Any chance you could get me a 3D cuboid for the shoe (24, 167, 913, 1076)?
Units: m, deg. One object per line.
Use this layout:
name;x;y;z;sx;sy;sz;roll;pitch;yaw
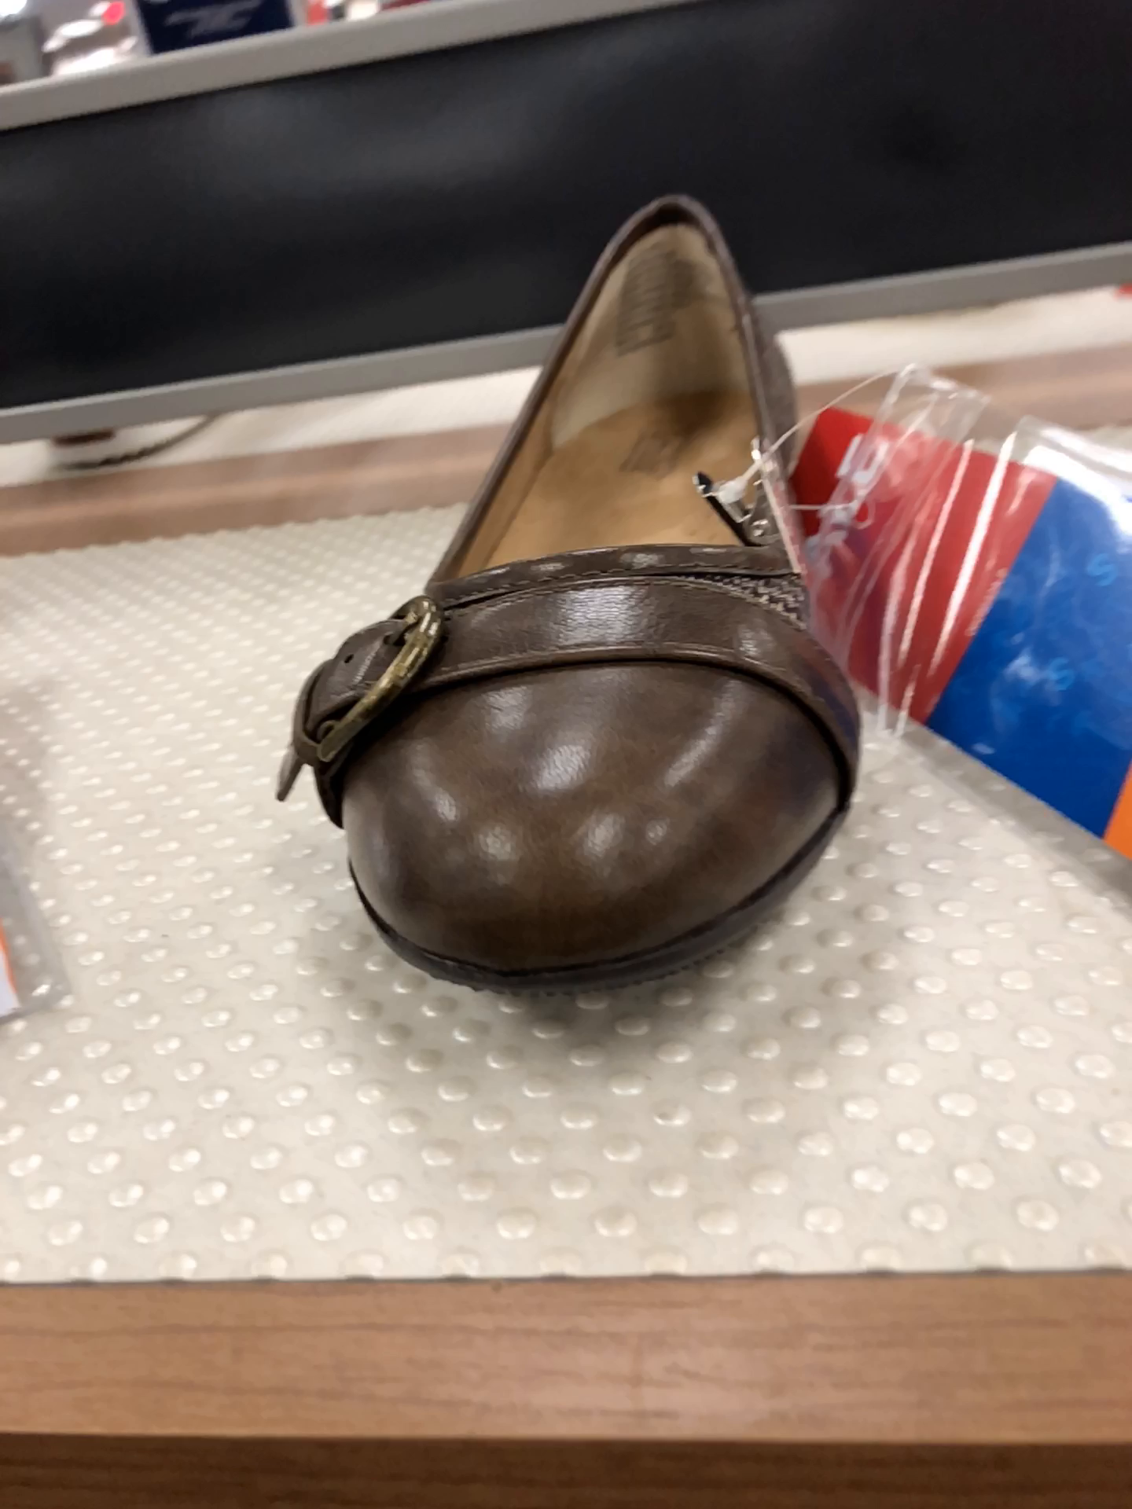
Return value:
shoe;0.012;-0.061;0.269;0.092;0.080;0.279;-4;29;11
